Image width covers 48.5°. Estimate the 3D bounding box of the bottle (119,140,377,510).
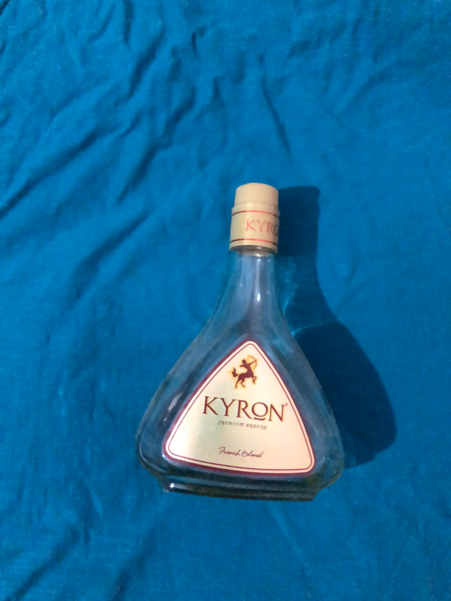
[{"bbox_3d":[0.013,0.013,0.285,0.120,0.060,0.180,4,85,-2],"label":"bottle"}]
